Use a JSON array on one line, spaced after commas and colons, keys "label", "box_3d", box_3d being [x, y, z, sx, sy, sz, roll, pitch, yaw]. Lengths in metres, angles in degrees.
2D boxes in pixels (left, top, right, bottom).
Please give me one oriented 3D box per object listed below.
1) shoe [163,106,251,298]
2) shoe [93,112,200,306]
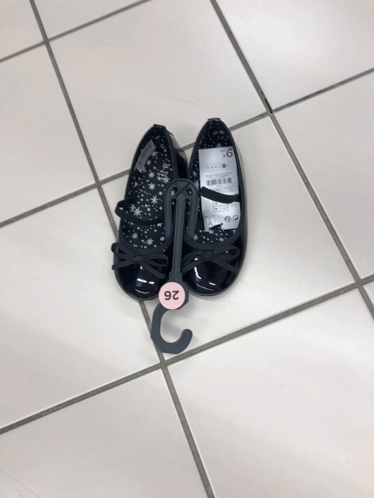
[{"label": "shoe", "box_3d": [0.022, -0.043, 0.393, 0.074, 0.055, 0.172, 1, 76, 7]}, {"label": "shoe", "box_3d": [-0.033, -0.038, 0.400, 0.072, 0.059, 0.174, 4, 76, 7]}]
